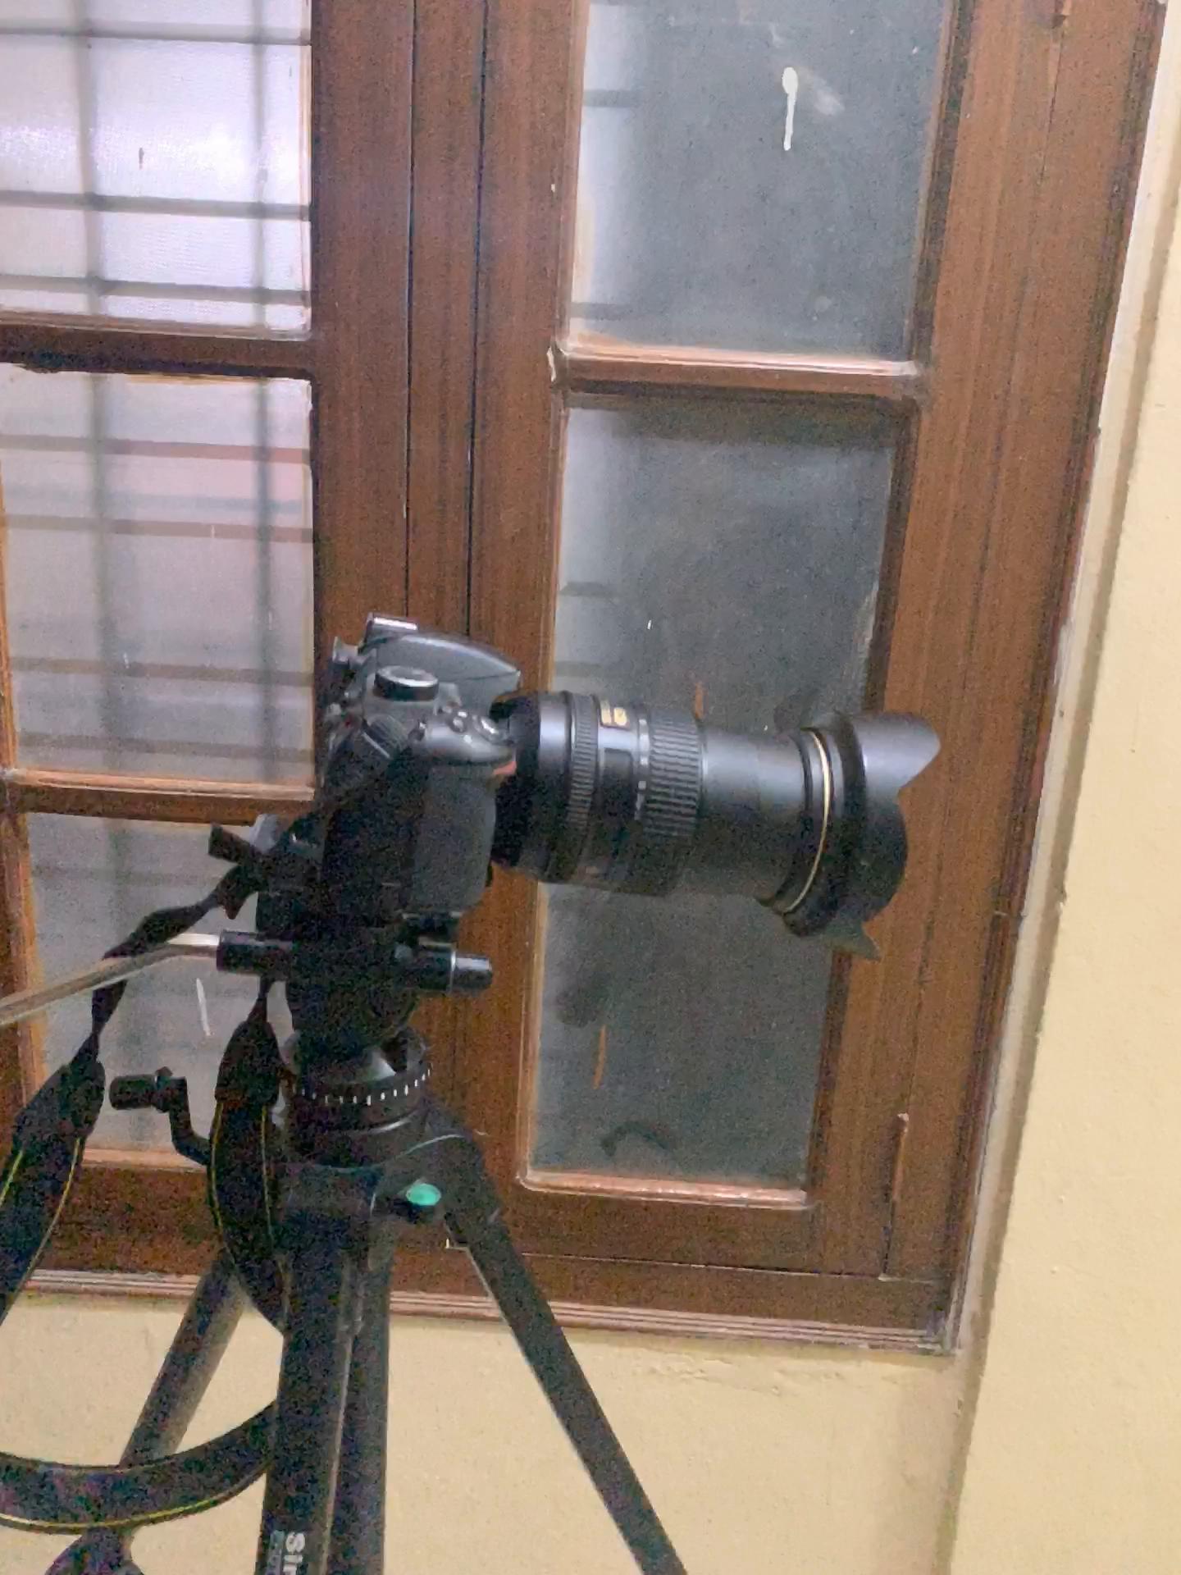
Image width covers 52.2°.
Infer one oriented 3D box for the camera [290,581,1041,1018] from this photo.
[{"bbox_3d":[0.024,-0.001,0.522,0.270,0.120,0.130,8,15,-6],"label":"camera"}]
